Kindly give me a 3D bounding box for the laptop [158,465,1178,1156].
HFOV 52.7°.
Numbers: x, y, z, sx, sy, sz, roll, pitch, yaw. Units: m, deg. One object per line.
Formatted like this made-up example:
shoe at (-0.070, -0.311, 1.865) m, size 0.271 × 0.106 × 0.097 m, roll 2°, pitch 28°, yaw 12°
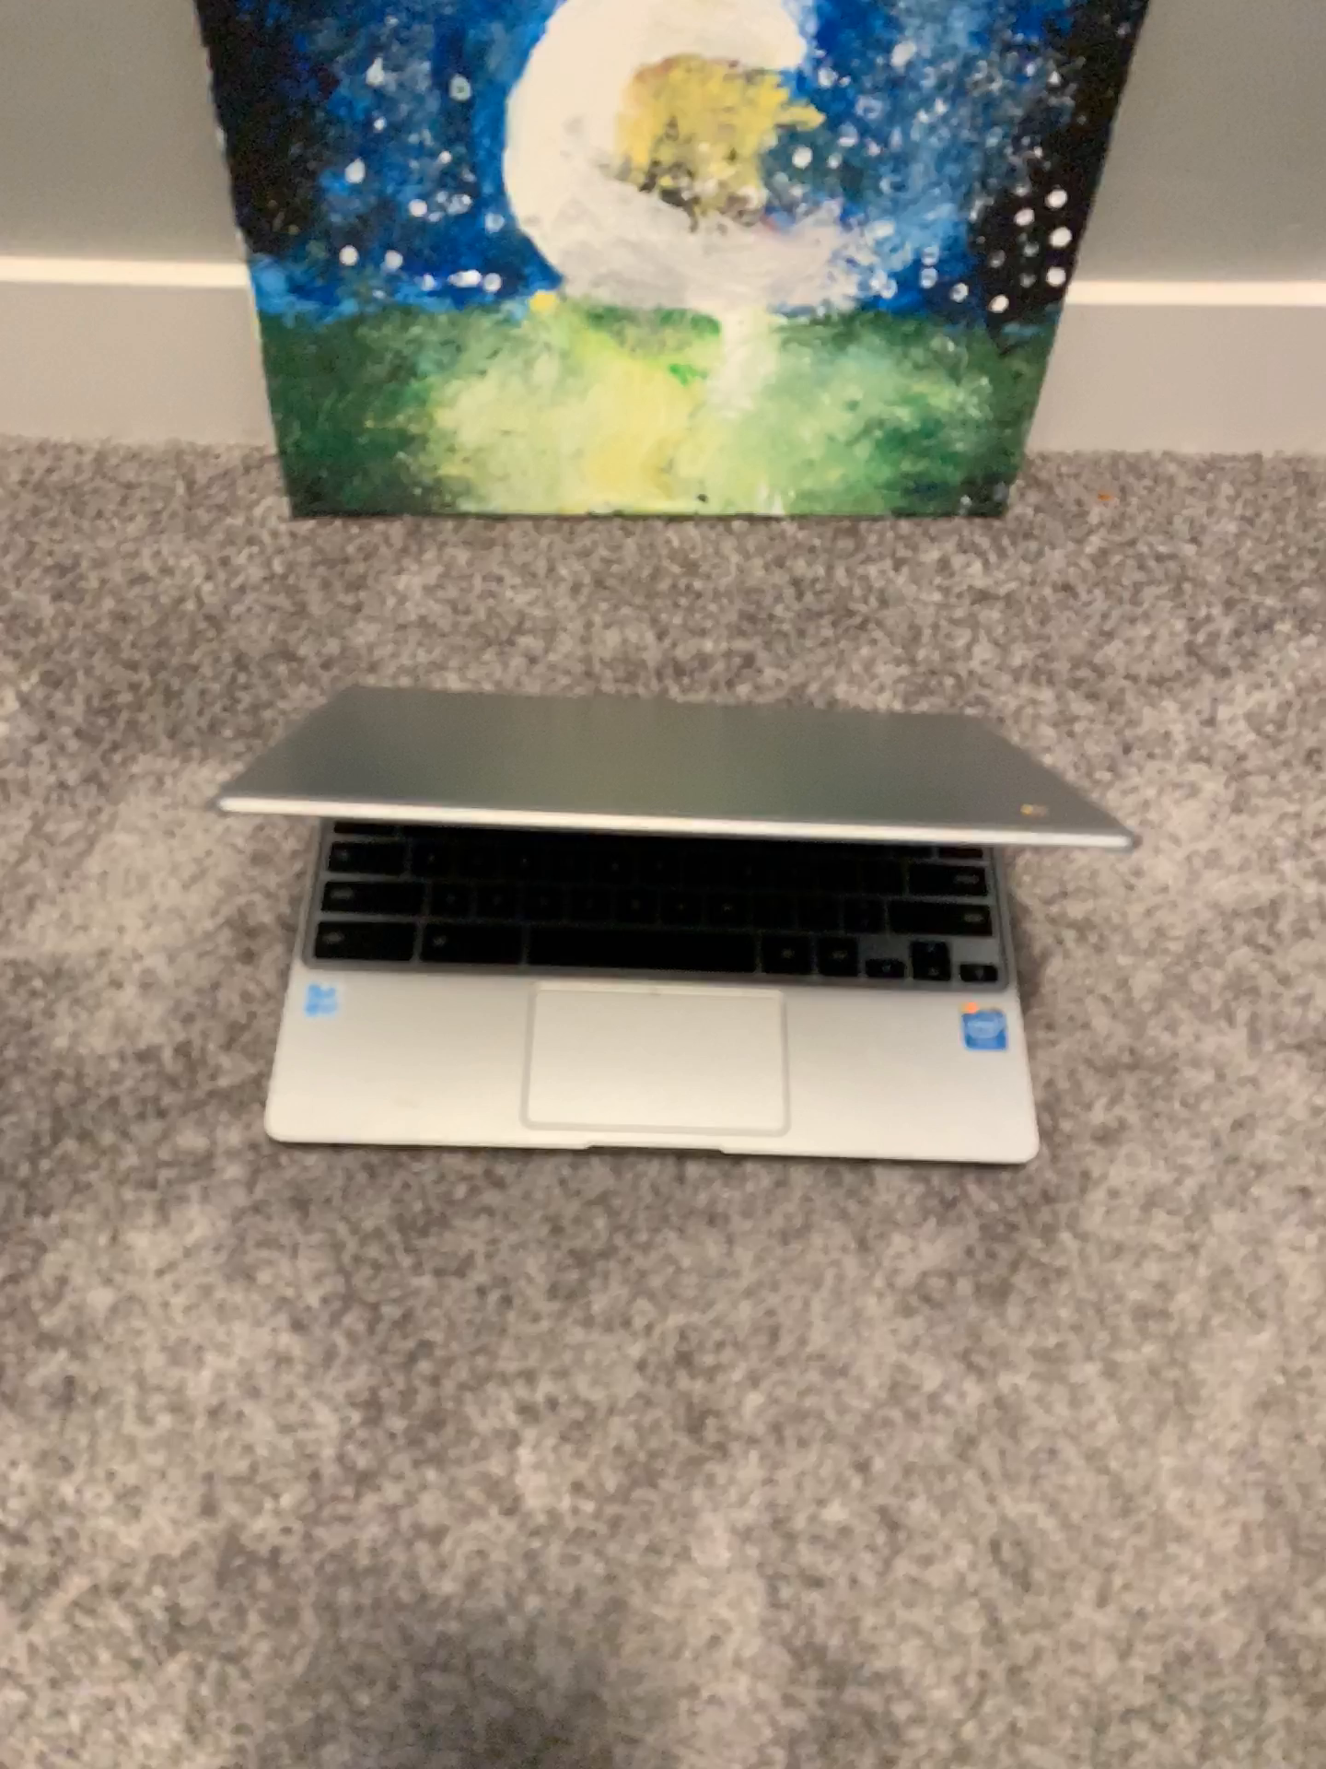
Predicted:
laptop at (0.002, -0.022, 0.497) m, size 0.294 × 0.144 × 0.200 m, roll 2°, pitch 61°, yaw -3°
